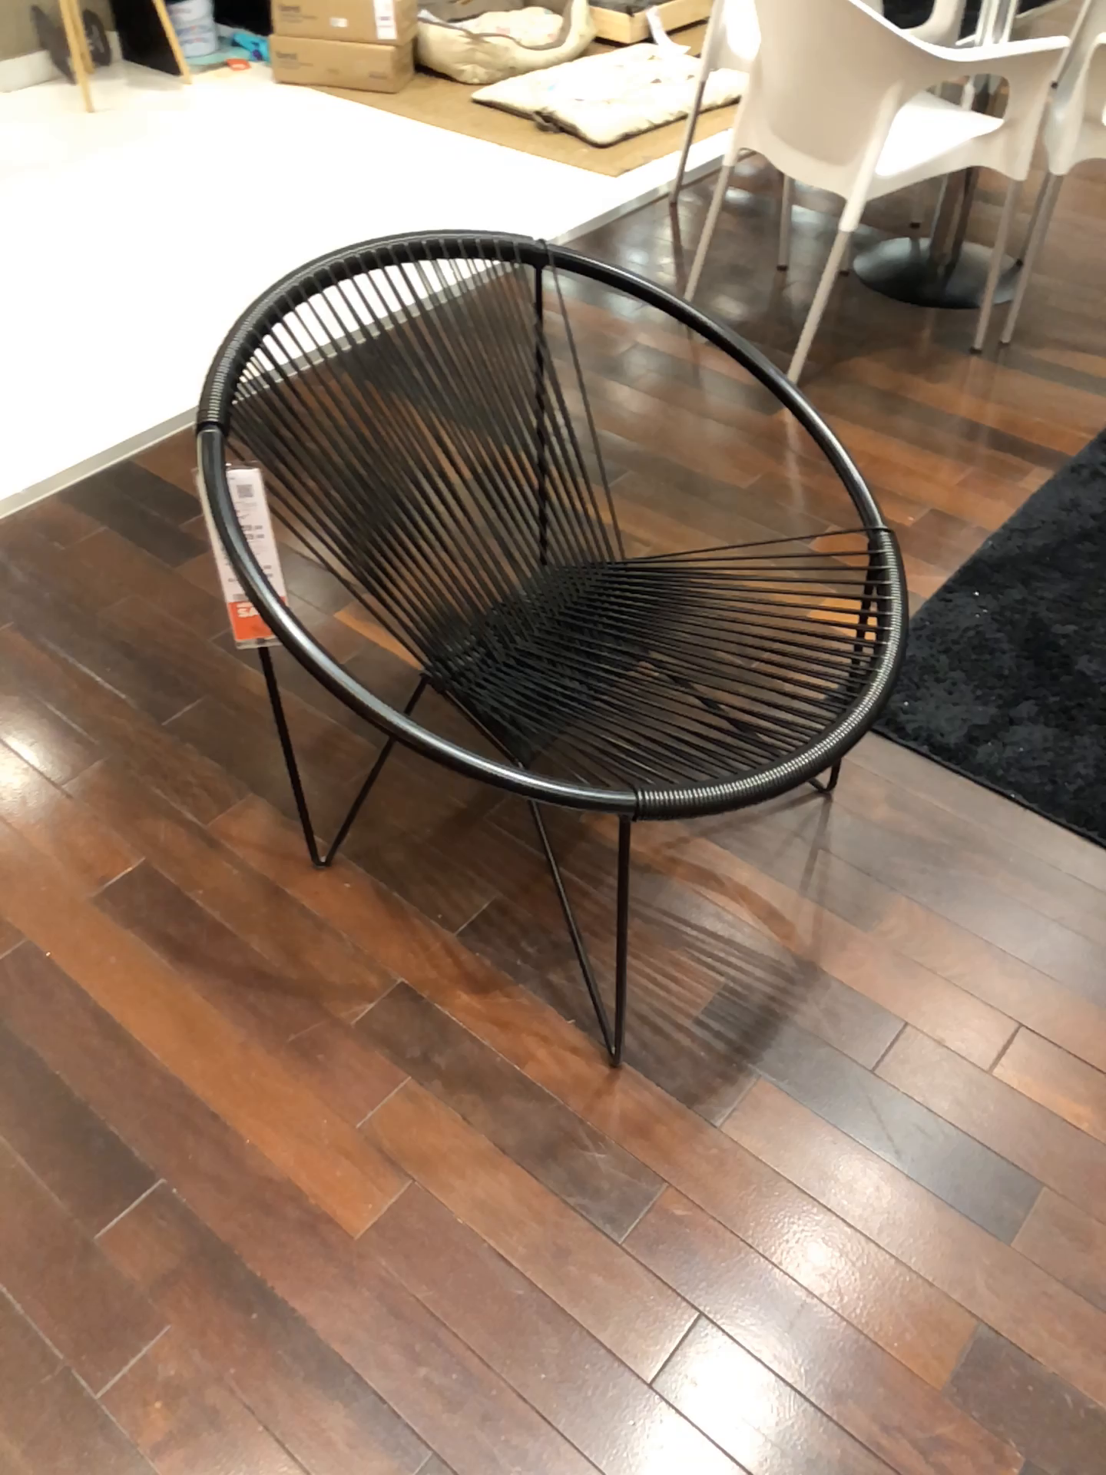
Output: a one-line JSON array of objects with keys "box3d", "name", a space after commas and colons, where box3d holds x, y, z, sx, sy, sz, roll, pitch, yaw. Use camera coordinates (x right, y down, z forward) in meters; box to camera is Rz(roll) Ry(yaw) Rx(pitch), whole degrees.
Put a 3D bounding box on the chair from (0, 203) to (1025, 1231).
[{"box3d": [-0.026, -0.091, 1.361, 0.731, 0.675, 0.704, 23, 47, 26], "name": "chair"}]
